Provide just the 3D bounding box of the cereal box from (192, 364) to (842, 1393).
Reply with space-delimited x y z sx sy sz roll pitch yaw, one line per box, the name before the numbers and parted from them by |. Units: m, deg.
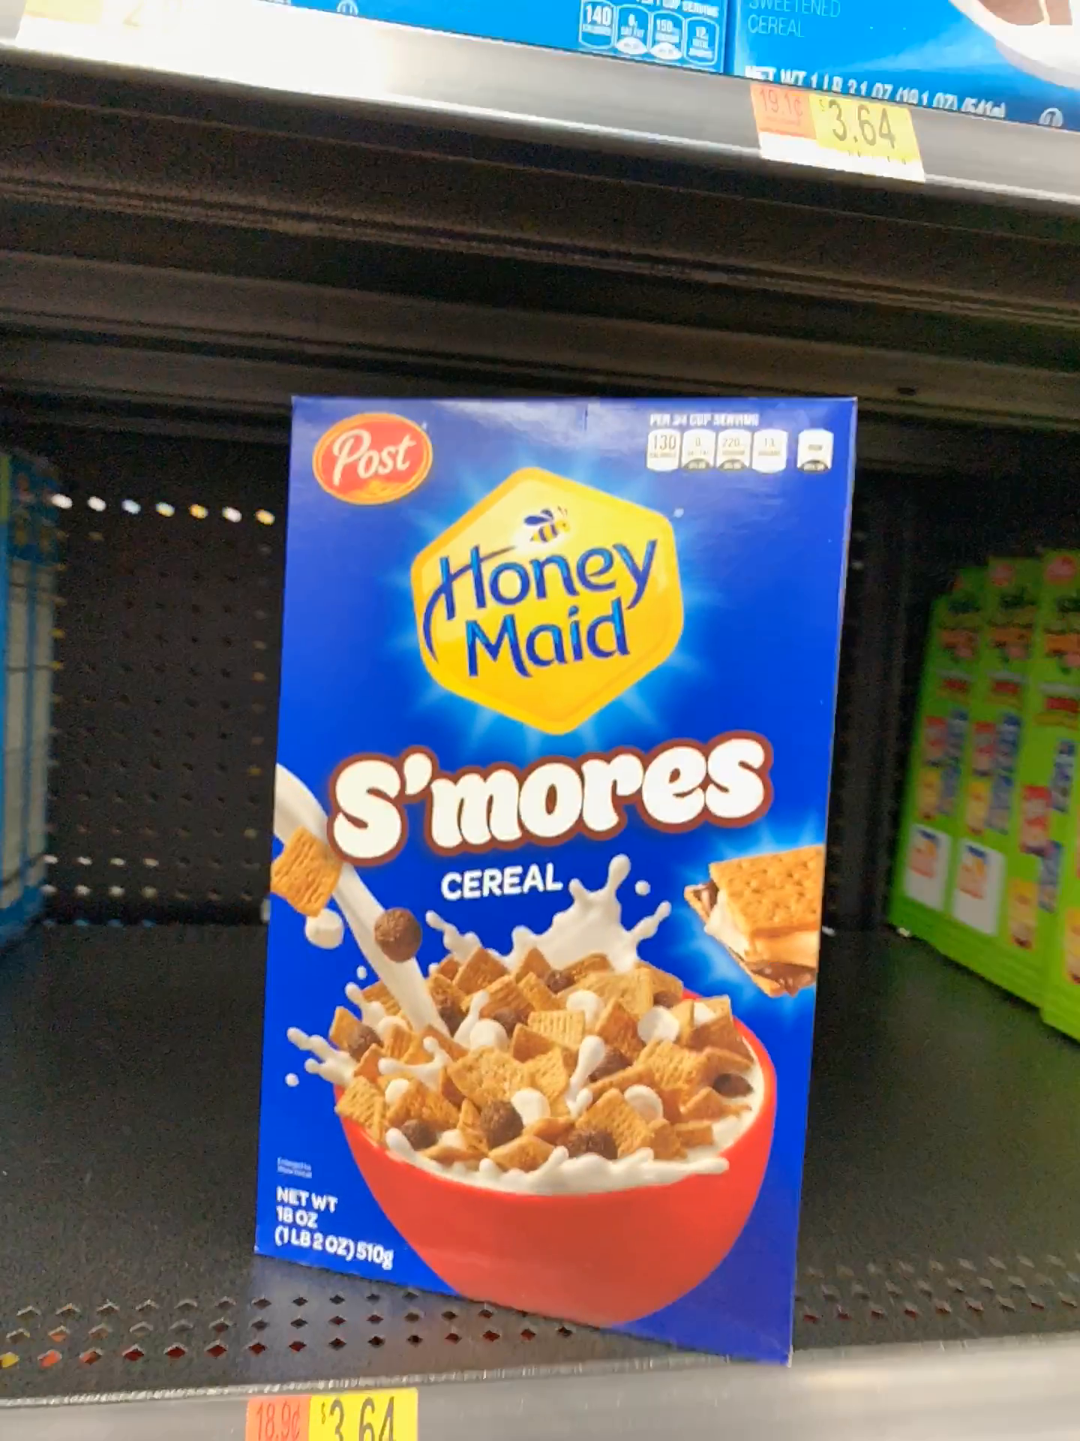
cereal box | -0.008 0.043 0.406 0.200 0.320 0.070 5 2 14
